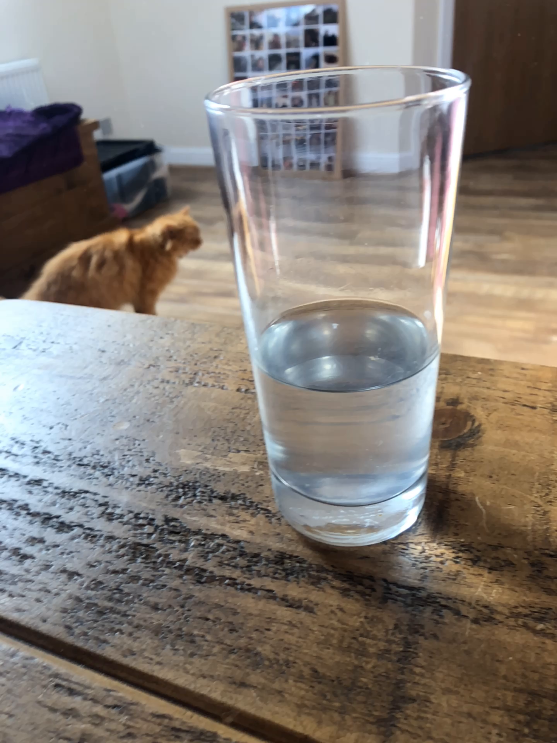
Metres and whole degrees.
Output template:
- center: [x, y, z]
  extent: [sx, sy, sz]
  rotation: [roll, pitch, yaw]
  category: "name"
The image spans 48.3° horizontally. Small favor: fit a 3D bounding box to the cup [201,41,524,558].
- center: [0.031, -0.022, 0.215]
  extent: [0.074, 0.152, 0.078]
  rotation: [-4, 31, 3]
  category: "cup"
